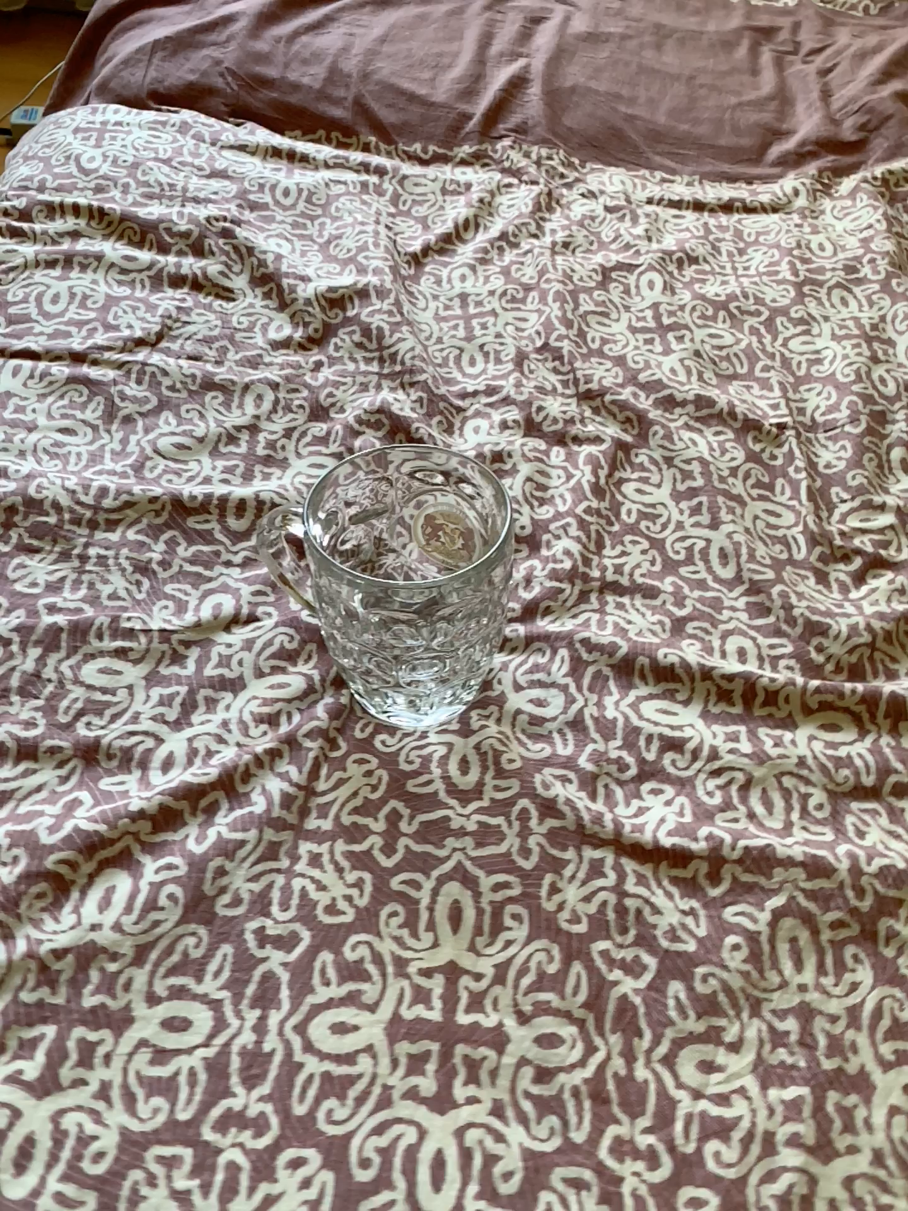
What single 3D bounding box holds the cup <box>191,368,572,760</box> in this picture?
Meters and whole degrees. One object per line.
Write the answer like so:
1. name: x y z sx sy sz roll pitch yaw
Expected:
1. cup: -0.032 -0.018 0.422 0.130 0.109 0.091 21 50 9
